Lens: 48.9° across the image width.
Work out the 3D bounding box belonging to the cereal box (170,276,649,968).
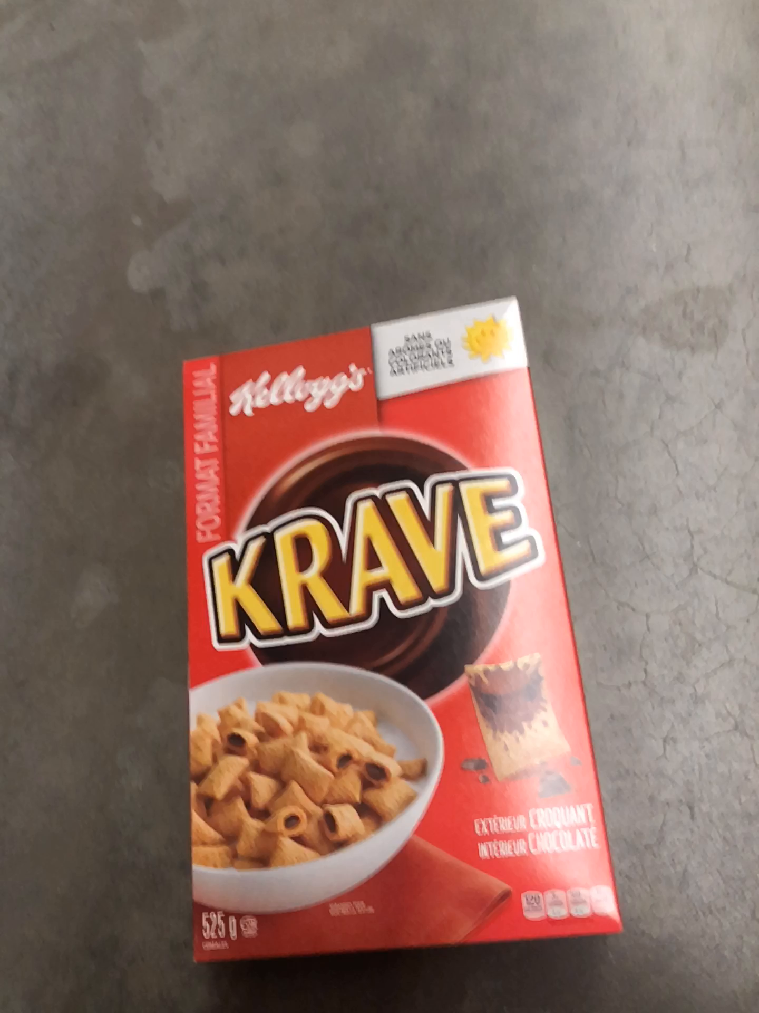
[{"bbox_3d":[0.003,0.053,0.435,0.200,0.070,0.310,-9,72,9],"label":"cereal box"}]
